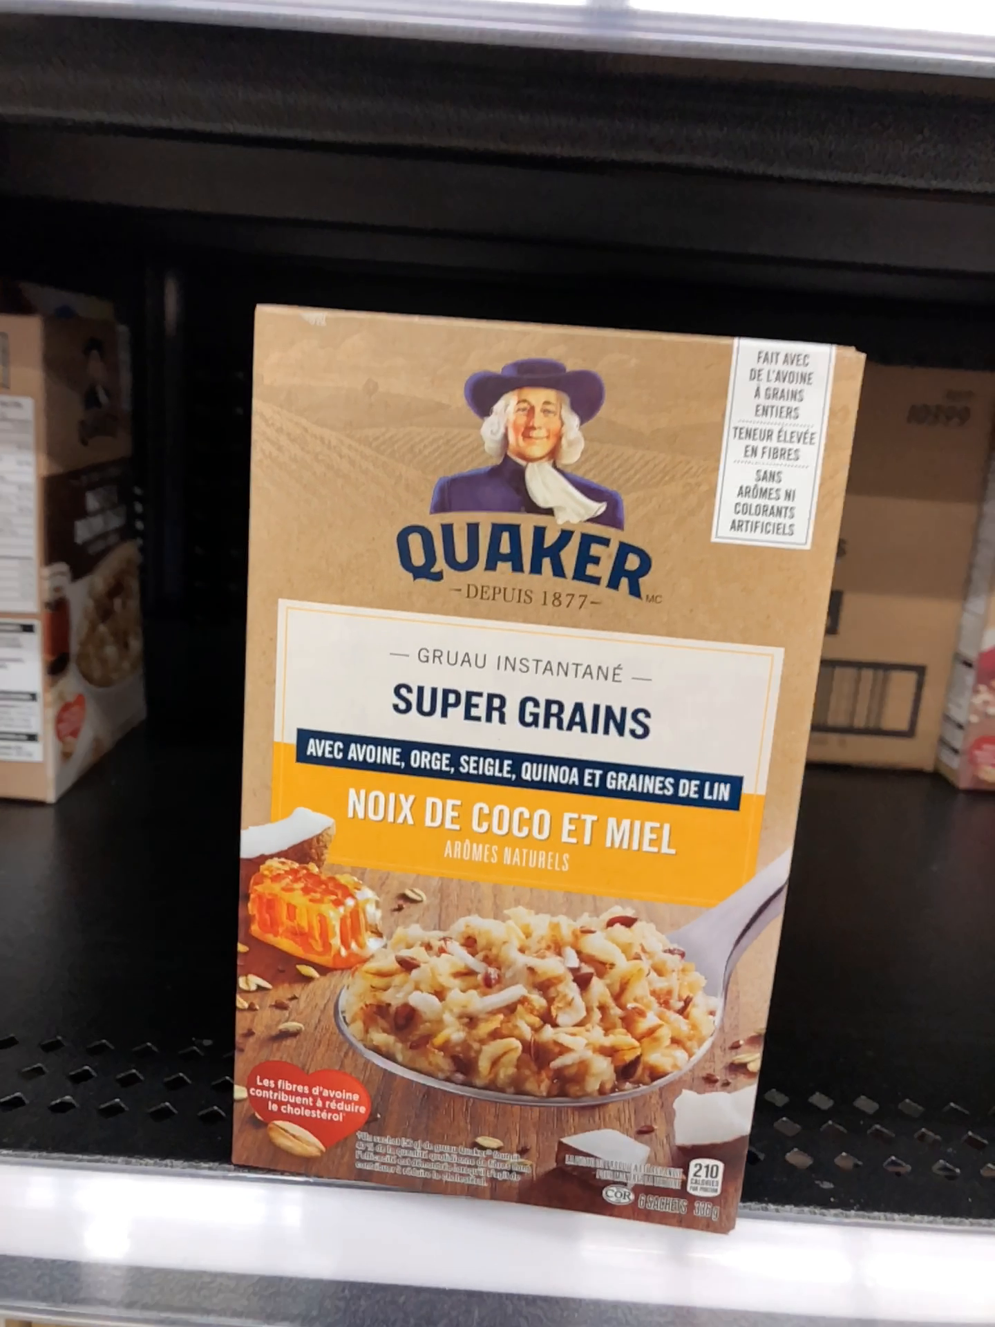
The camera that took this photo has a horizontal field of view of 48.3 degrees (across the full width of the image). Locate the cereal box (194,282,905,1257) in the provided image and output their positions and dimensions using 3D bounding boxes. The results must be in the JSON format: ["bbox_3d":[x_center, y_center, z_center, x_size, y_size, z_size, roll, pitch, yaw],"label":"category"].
[{"bbox_3d":[0.004,0.023,0.256,0.130,0.199,0.060,5,15,4],"label":"cereal box"}]
